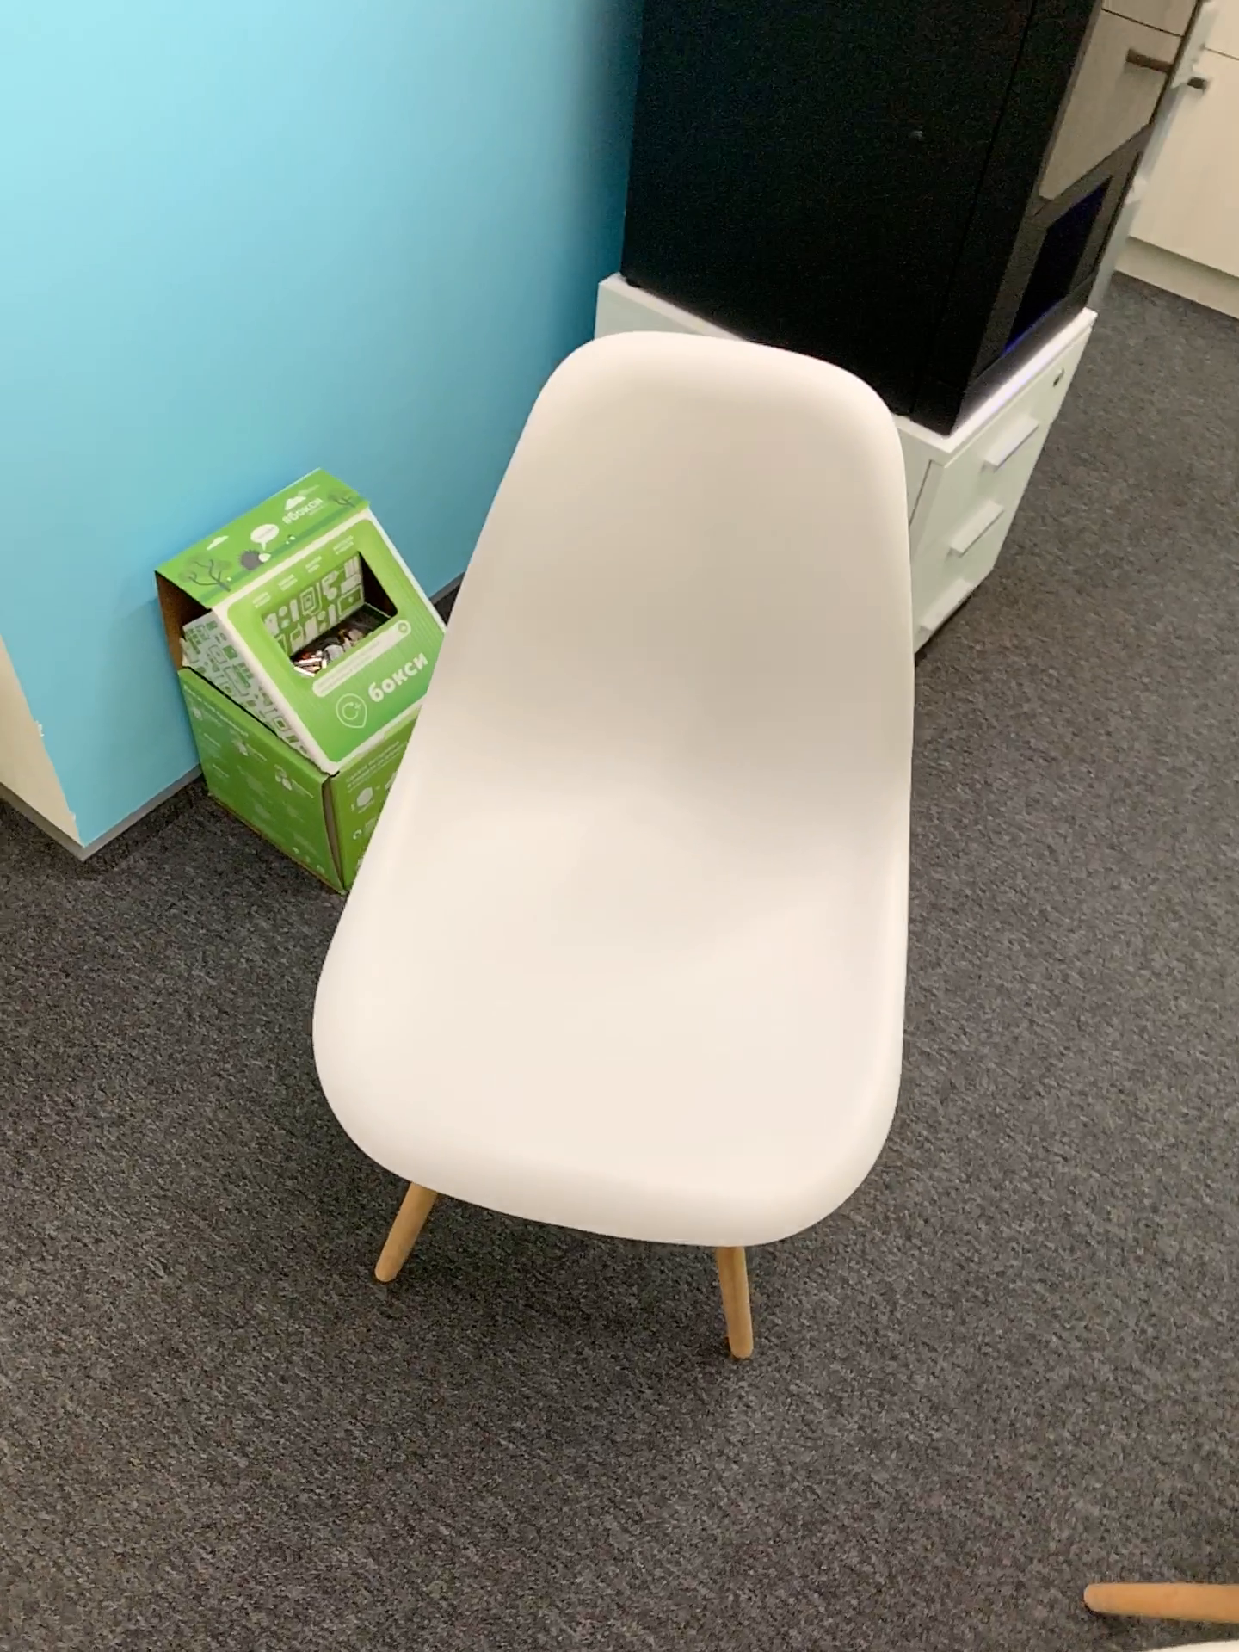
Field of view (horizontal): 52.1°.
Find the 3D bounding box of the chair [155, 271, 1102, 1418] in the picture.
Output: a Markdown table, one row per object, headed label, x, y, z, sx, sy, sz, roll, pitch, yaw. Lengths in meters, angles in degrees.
| label | x | y | z | sx | sy | sz | roll | pitch | yaw |
| --- | --- | --- | --- | --- | --- | --- | --- | --- | --- |
| chair | 0.011 | 0.083 | 1.077 | 0.460 | 0.816 | 0.502 | 12 | 51 | 3 |
